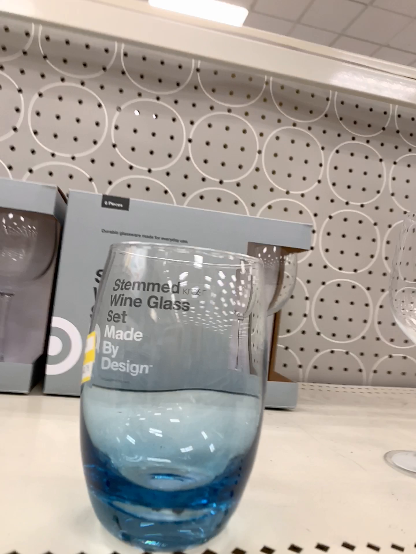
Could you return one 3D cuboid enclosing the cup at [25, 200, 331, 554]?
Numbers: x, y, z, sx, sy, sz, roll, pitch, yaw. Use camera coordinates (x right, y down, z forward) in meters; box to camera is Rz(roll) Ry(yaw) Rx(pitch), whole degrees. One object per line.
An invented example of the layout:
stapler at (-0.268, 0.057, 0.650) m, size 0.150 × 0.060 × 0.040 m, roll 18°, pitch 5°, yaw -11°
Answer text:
cup at (-0.015, 0.038, 0.195) m, size 0.090 × 0.120 × 0.090 m, roll 6°, pitch -2°, yaw 0°
